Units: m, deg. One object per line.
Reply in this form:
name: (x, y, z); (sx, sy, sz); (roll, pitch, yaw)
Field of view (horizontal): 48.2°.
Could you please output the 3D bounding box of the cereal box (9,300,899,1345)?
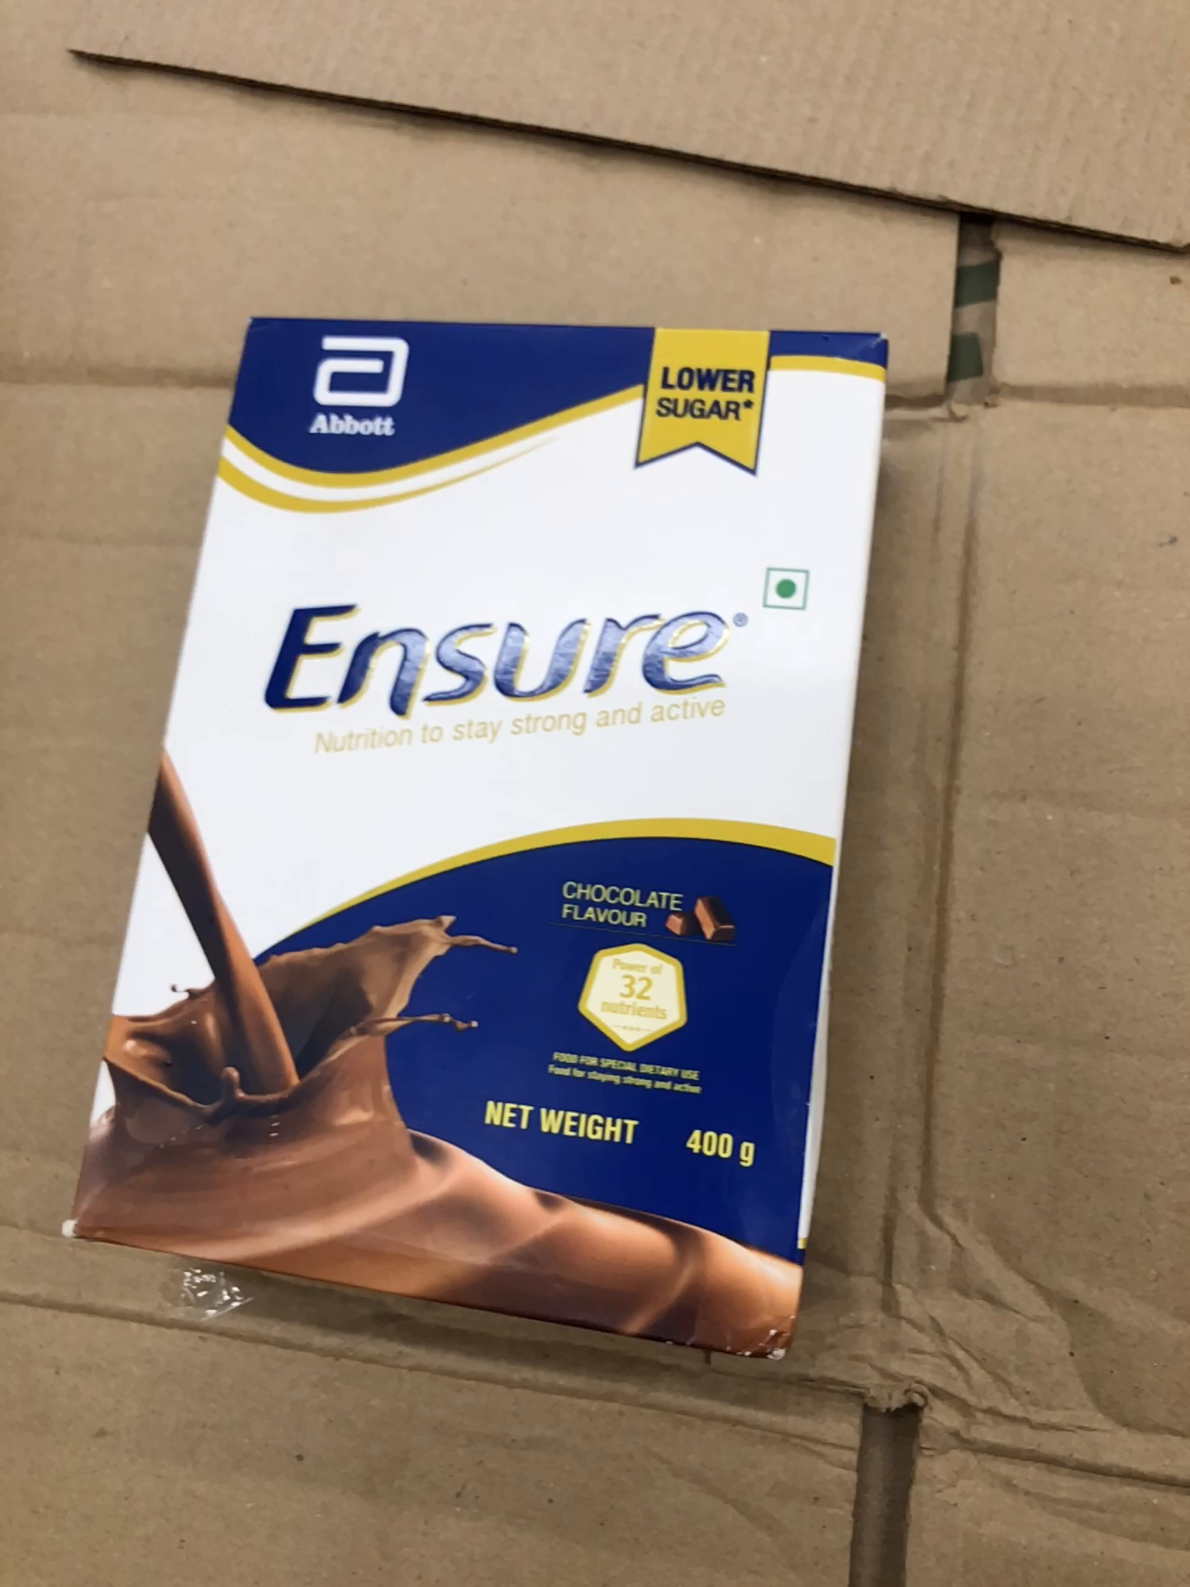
cereal box: (-0.020, -0.002, 0.265); (0.140, 0.050, 0.180); (5, 78, 12)
